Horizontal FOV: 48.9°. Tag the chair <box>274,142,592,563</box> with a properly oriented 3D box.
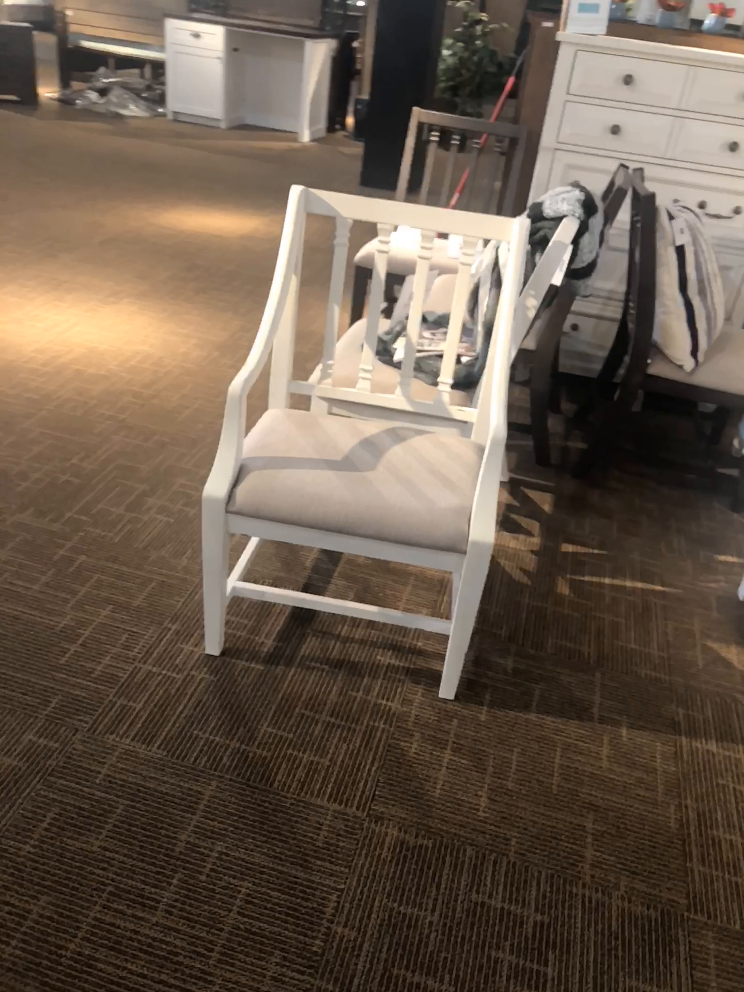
[{"bbox_3d":[0.158,-0.407,2.227,0.640,0.885,0.563,13,31,10],"label":"chair"}]

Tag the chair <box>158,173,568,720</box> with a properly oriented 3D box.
[{"bbox_3d":[-0.008,-0.136,1.773,0.650,0.885,0.633,12,31,8],"label":"chair"}]

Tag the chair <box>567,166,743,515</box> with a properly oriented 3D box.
[{"bbox_3d":[1.122,-0.591,2.890,0.600,0.885,0.875,14,31,11],"label":"chair"}]

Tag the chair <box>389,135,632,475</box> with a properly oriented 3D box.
[{"bbox_3d":[0.474,-0.676,2.794,0.580,0.885,0.684,13,31,10],"label":"chair"}]

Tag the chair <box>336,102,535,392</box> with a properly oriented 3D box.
[{"bbox_3d":[0.253,-1.032,3.355,0.540,0.955,0.603,16,32,14],"label":"chair"}]
